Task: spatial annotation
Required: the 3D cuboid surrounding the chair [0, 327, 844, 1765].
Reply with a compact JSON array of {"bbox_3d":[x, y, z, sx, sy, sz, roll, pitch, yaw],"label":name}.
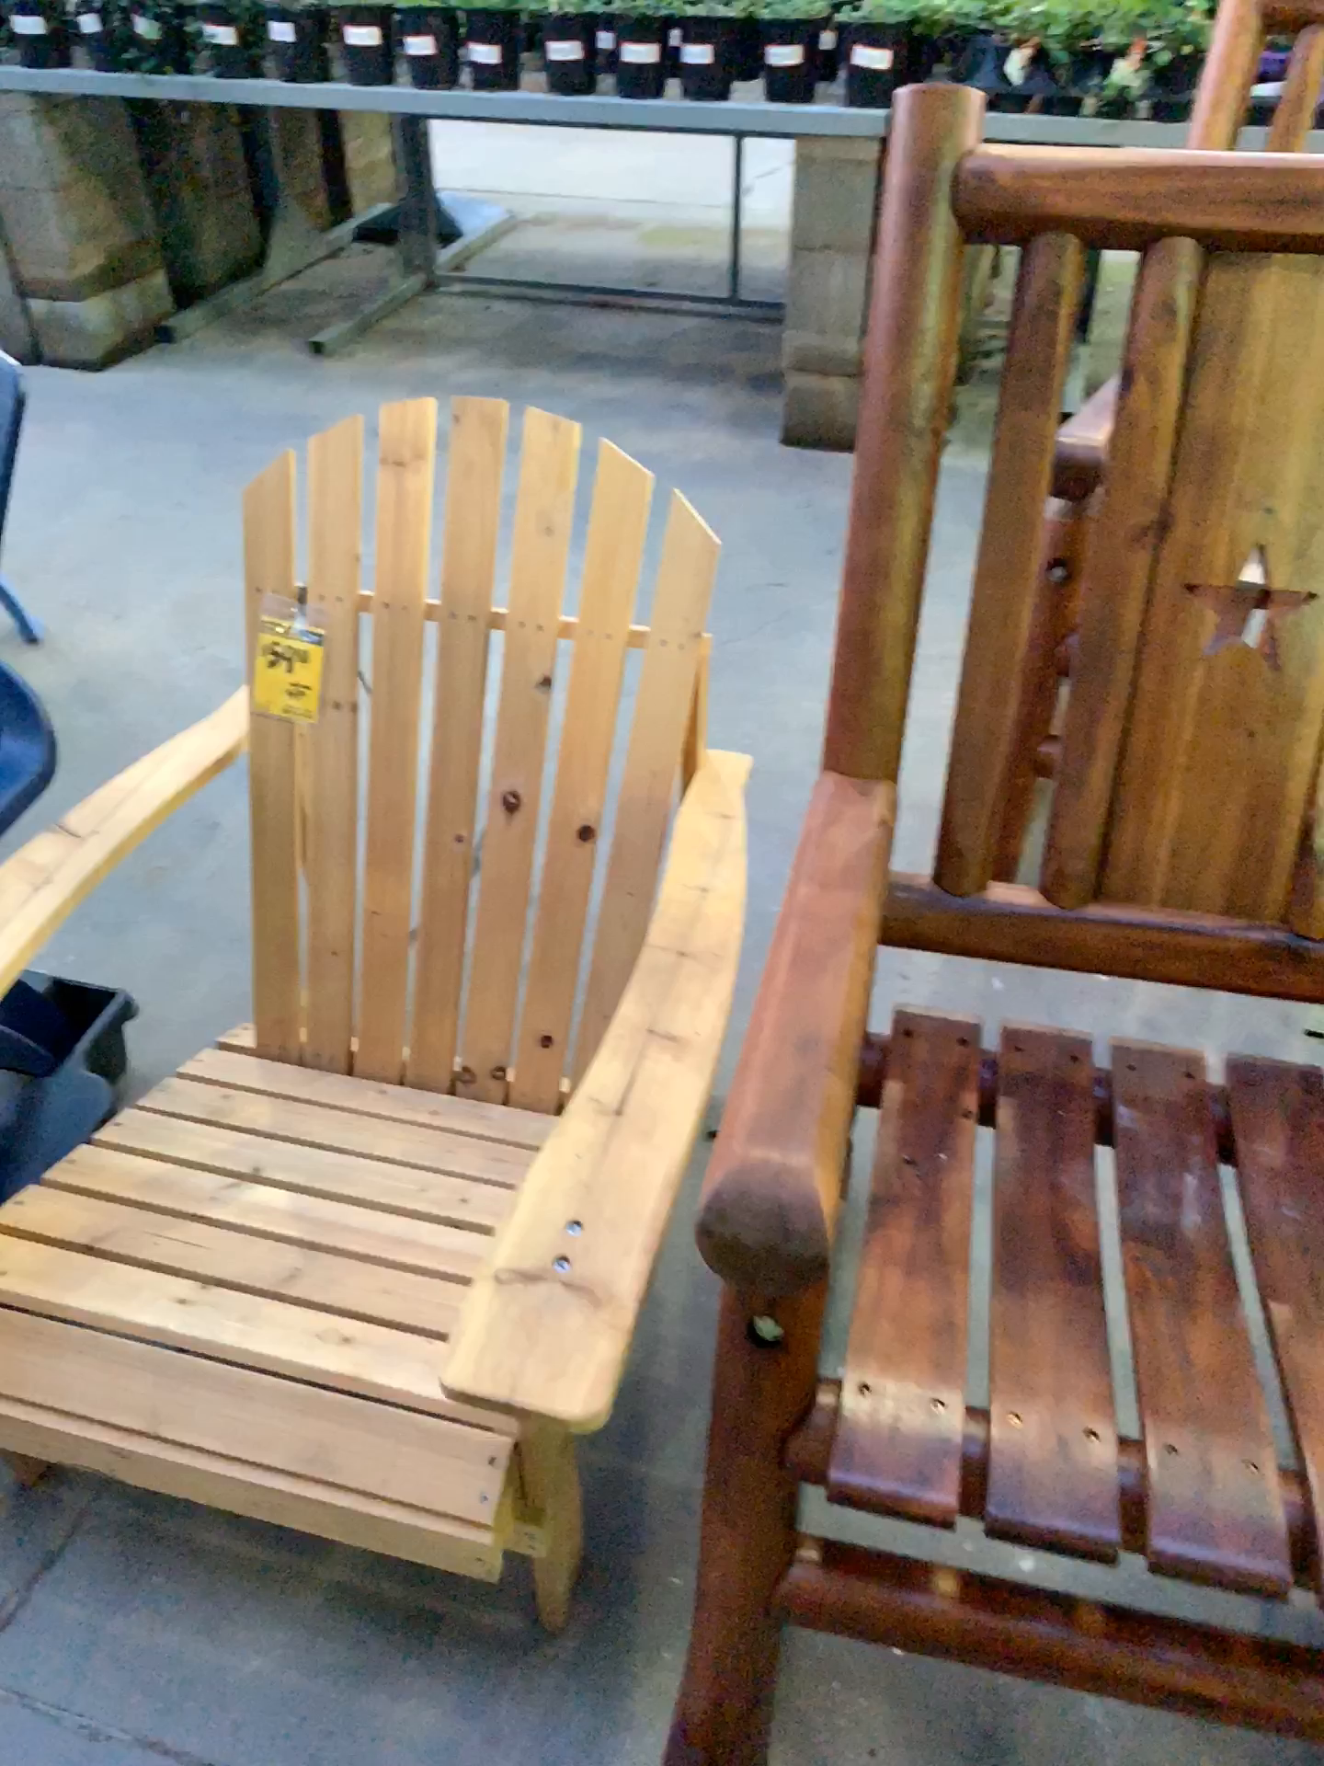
[{"bbox_3d":[-0.290,0.094,1.290,0.728,0.887,0.895,9,41,11],"label":"chair"}]
